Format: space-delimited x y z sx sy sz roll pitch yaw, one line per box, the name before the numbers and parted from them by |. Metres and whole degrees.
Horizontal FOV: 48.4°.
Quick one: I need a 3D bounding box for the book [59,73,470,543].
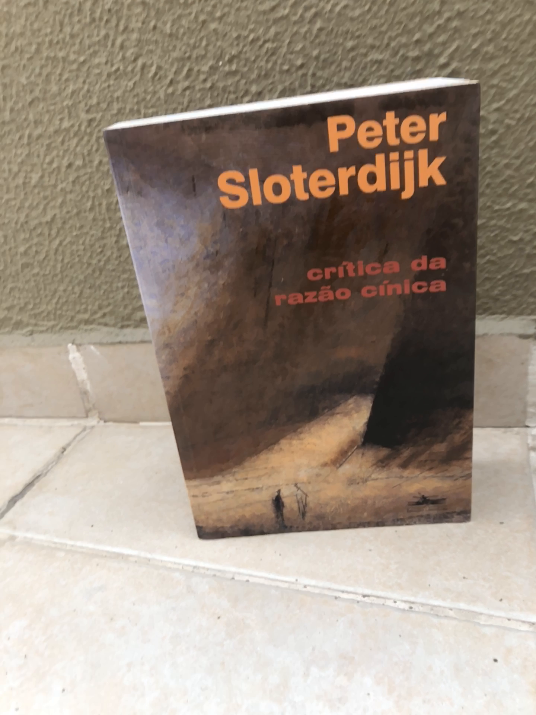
book | 0.012 -0.014 0.310 0.165 0.220 0.058 -6 26 6
